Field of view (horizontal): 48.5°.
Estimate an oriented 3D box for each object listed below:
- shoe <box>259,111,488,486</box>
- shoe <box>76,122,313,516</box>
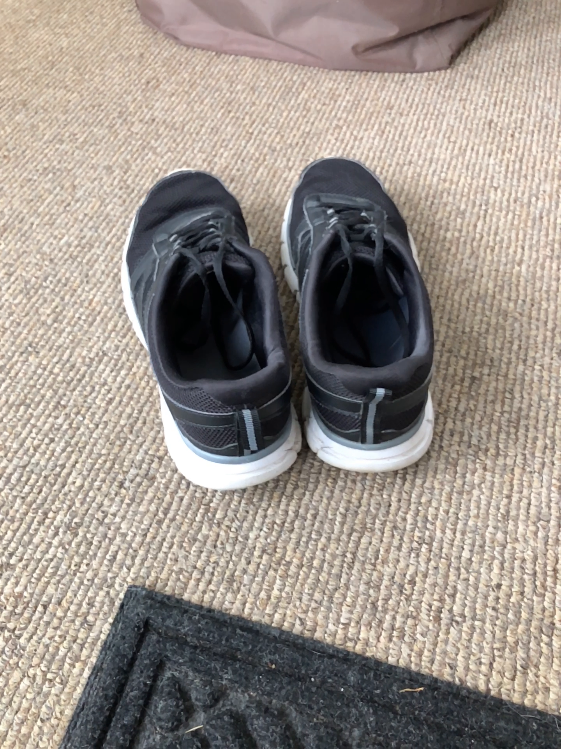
[{"bbox_3d":[0.048,-0.069,0.468,0.120,0.110,0.277,-2,53,-2],"label":"shoe"},{"bbox_3d":[-0.071,-0.056,0.456,0.118,0.100,0.276,-10,54,-8],"label":"shoe"}]
